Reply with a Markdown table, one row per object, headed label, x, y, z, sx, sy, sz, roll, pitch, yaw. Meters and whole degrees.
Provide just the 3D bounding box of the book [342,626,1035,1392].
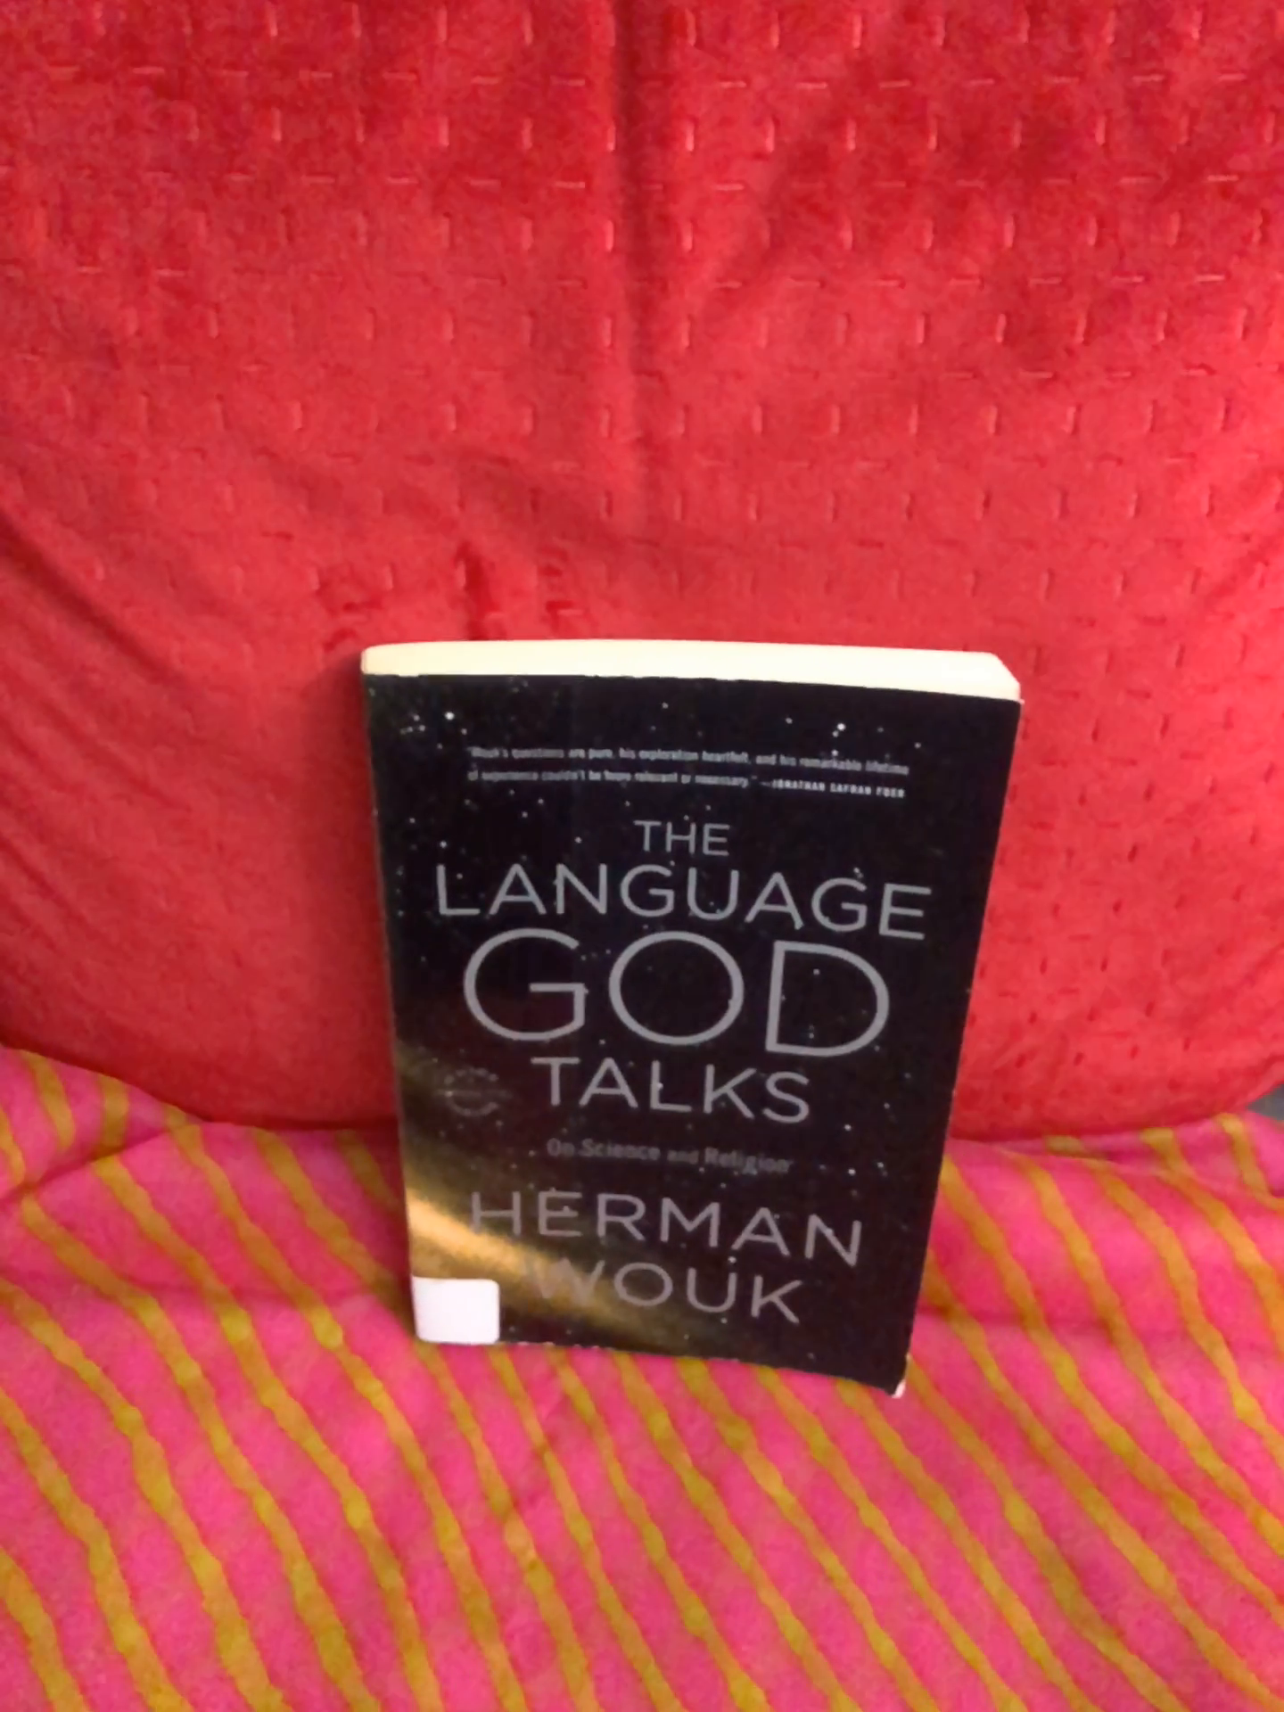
| label | x | y | z | sx | sy | sz | roll | pitch | yaw |
| --- | --- | --- | --- | --- | --- | --- | --- | --- | --- |
| book | 0.007 | 0.047 | 0.349 | 0.138 | 0.199 | 0.030 | 3 | 31 | 3 |
